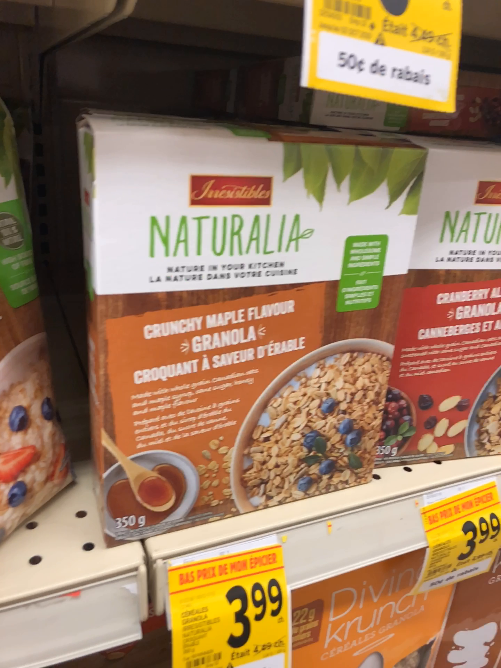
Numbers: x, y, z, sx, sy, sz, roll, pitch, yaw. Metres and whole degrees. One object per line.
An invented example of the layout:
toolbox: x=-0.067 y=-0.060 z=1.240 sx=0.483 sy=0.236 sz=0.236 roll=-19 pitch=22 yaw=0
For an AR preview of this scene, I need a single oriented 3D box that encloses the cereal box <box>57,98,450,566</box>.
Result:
cereal box: x=-0.002 y=-0.001 z=0.286 sx=0.170 sy=0.209 sz=0.050 roll=-6 pitch=25 yaw=-24
